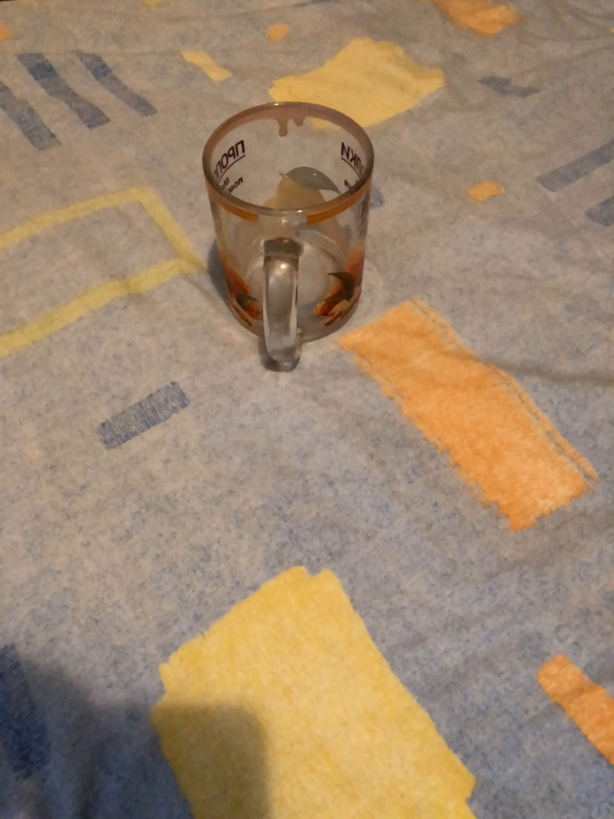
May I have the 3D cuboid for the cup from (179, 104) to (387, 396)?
[{"bbox_3d":[-0.010,-0.079,0.342,0.084,0.092,0.110,-1,57,0],"label":"cup"}]
